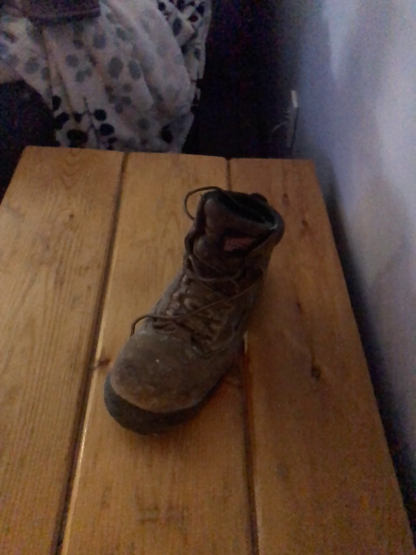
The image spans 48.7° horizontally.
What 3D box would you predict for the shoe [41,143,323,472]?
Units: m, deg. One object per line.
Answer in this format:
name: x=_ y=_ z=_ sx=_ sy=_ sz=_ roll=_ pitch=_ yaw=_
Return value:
shoe: x=-0.006 y=0.011 z=0.464 sx=0.130 sy=0.130 sz=0.291 roll=23 pitch=51 yaw=15
